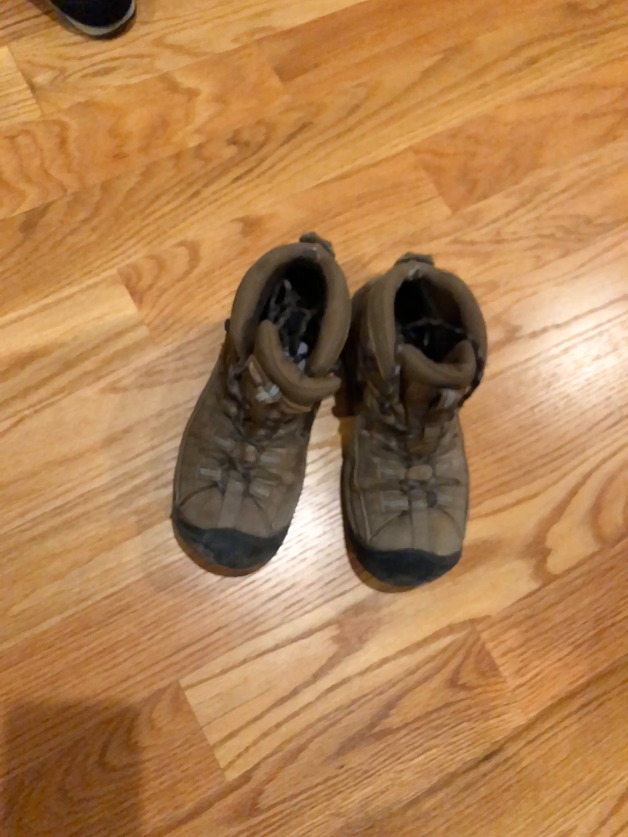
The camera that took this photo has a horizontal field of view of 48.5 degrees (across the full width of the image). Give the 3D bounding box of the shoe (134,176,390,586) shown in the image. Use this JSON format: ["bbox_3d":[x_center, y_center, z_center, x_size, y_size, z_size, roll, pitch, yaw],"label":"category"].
[{"bbox_3d":[-0.036,-0.018,0.524,0.107,0.139,0.260,15,74,-4],"label":"shoe"}]

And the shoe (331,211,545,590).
[{"bbox_3d":[0.081,-0.004,0.537,0.107,0.139,0.260,0,75,-8],"label":"shoe"}]
